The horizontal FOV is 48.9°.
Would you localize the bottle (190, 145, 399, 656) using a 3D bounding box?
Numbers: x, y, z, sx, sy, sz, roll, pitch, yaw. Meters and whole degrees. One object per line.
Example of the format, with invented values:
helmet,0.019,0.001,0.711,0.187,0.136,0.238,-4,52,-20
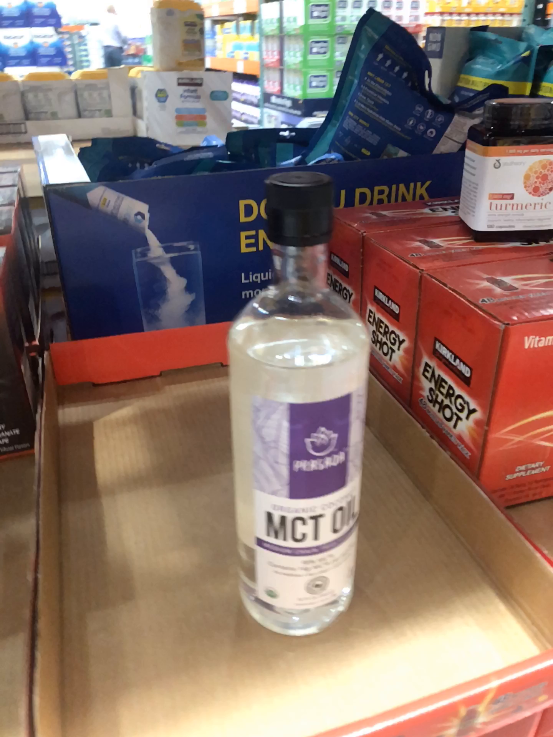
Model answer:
bottle,0.007,0.029,0.359,0.077,0.290,0.080,-1,28,0
